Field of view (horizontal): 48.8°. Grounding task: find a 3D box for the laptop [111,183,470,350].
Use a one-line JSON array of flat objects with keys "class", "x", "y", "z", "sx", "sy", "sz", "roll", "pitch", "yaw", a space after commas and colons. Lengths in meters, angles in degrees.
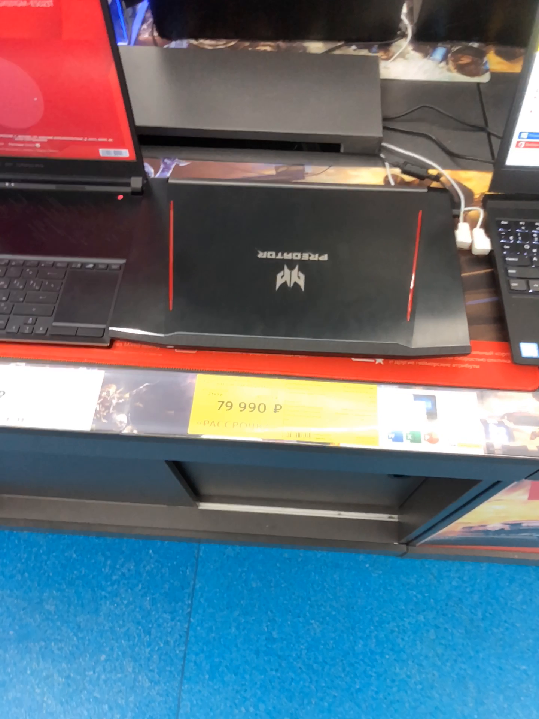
[{"class": "laptop", "x": 0.027, "y": -0.117, "z": 0.687, "sx": 0.377, "sy": 0.004, "sz": 0.229, "roll": 3, "pitch": 57, "yaw": 2}]
